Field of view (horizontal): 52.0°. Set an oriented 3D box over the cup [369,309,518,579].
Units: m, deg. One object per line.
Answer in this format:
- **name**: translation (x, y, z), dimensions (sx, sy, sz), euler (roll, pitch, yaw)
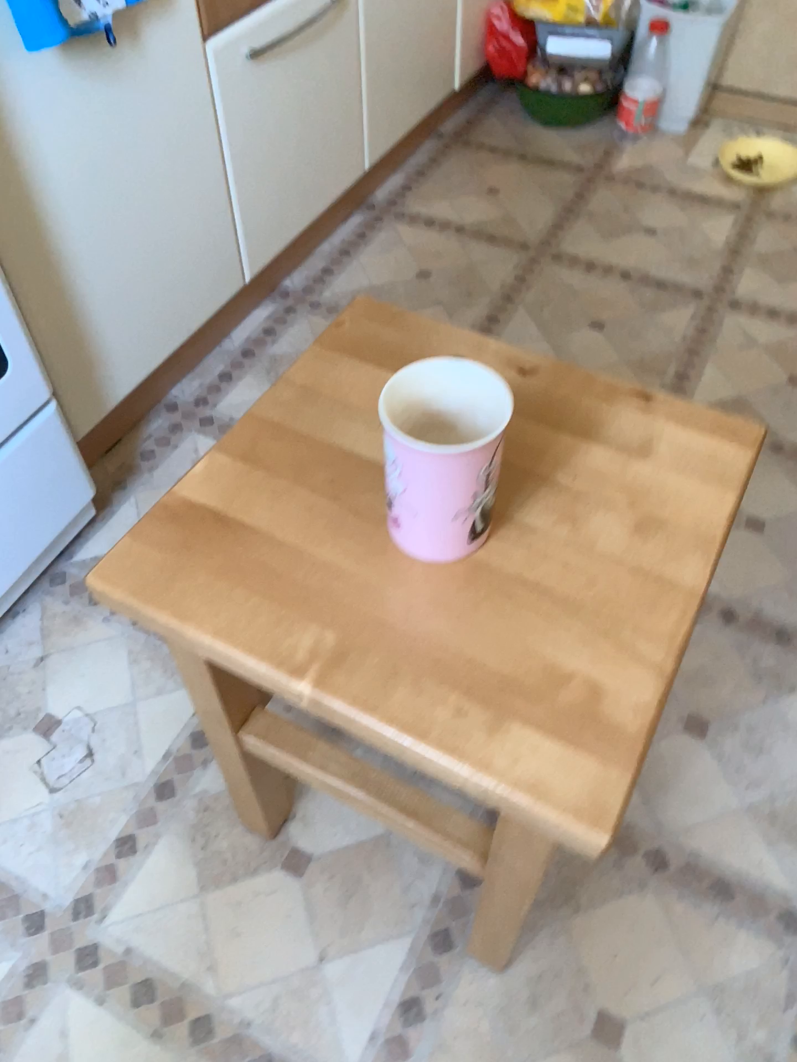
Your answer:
- **cup**: translation (0.026, -0.051, 0.483), dimensions (0.074, 0.107, 0.114), euler (2, 51, 2)
